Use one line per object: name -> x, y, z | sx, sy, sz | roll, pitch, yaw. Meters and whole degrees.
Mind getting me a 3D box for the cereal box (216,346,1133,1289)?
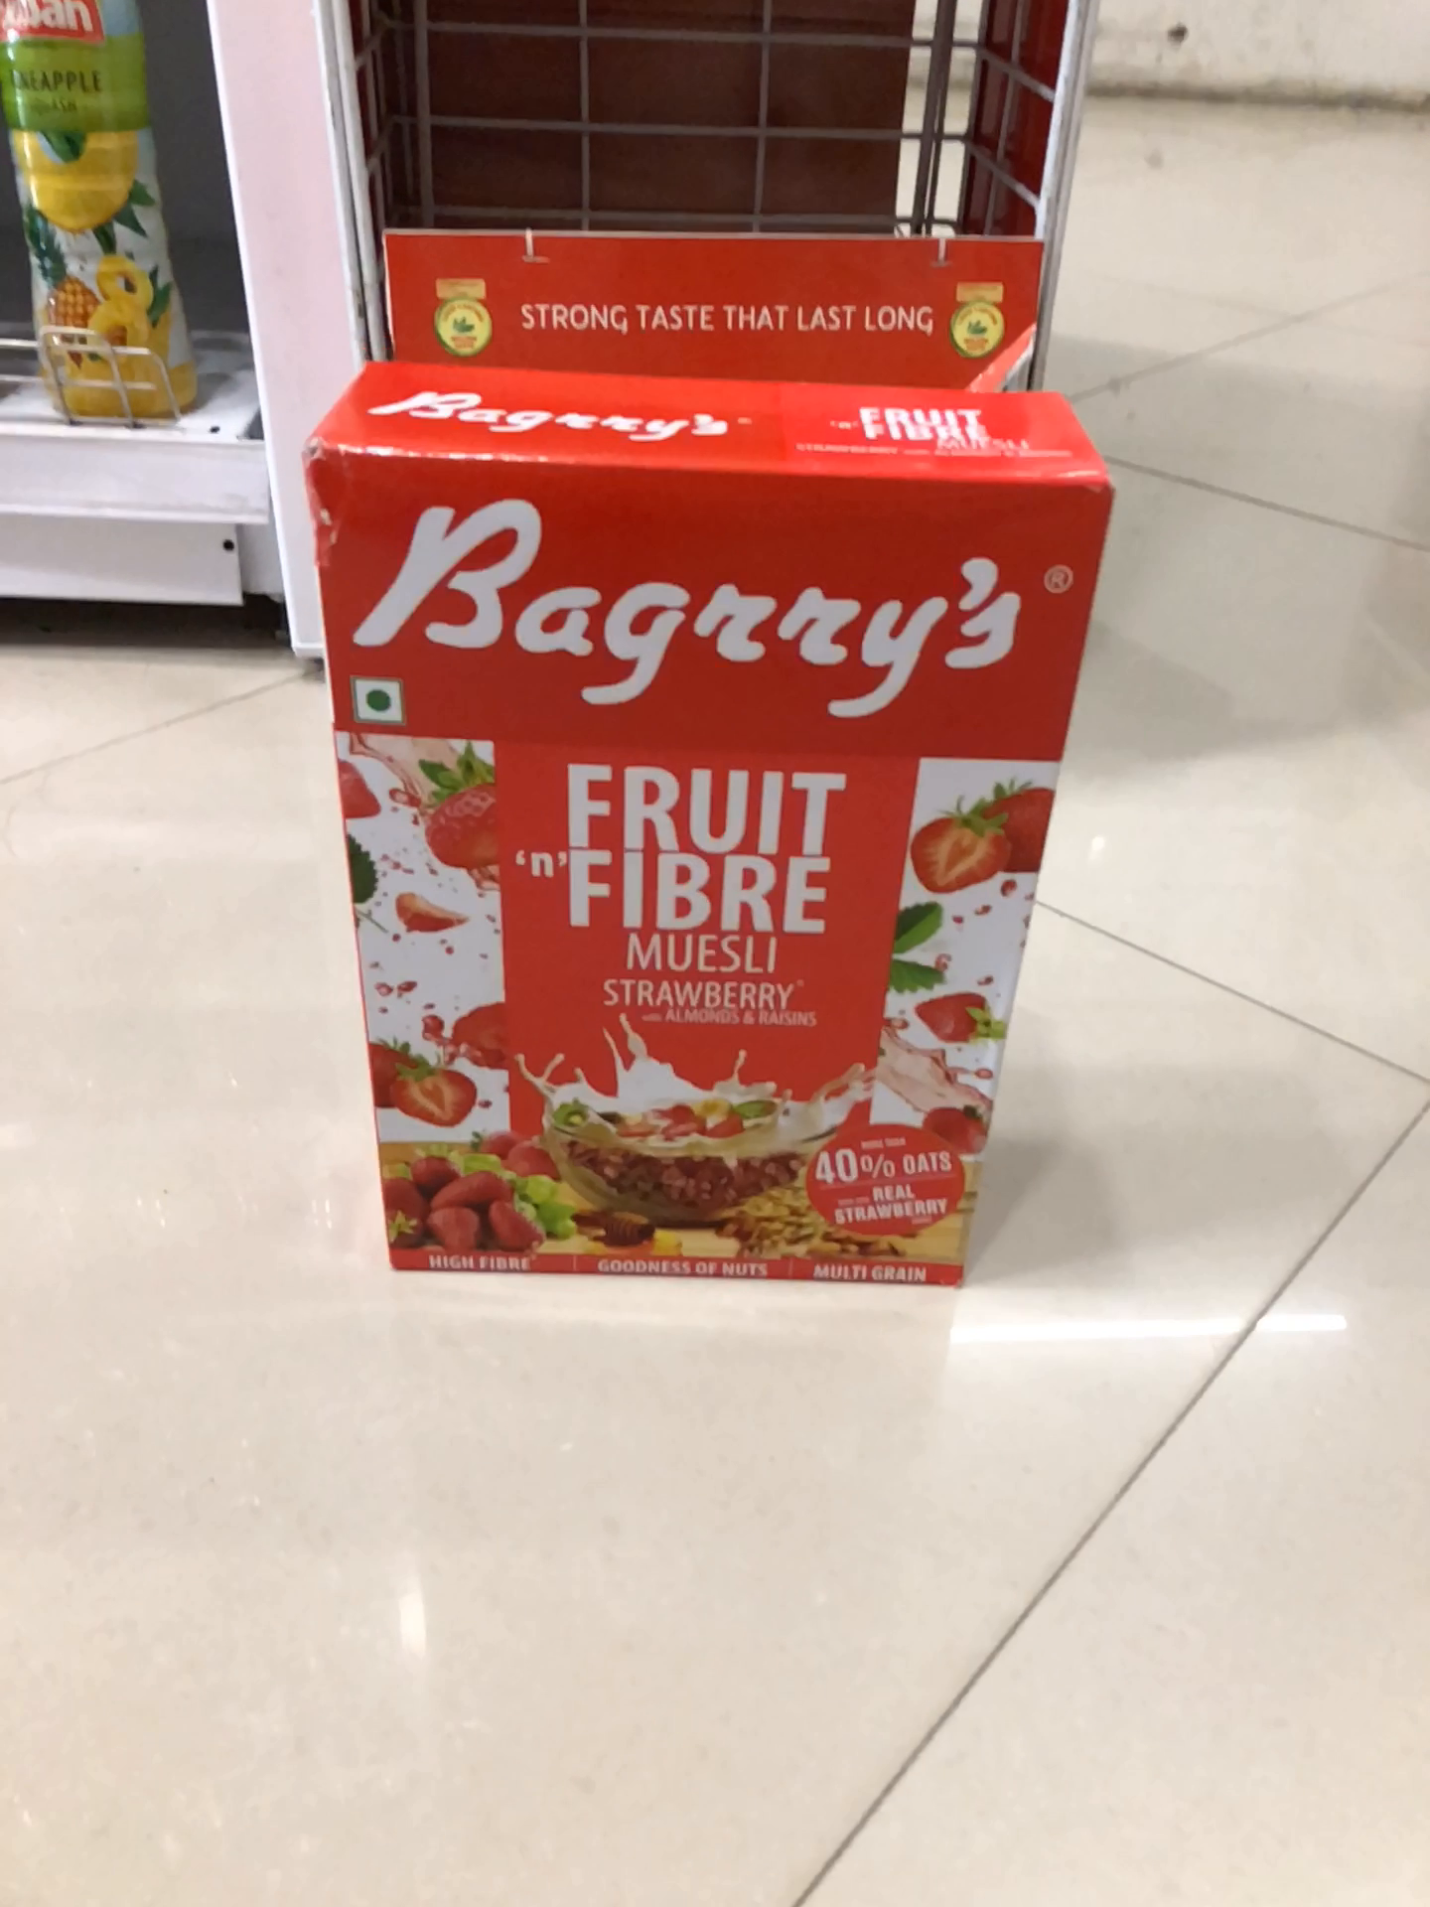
cereal box -> -0.014, -0.024, 0.445 | 0.200, 0.258, 0.071 | 2, 35, -2
